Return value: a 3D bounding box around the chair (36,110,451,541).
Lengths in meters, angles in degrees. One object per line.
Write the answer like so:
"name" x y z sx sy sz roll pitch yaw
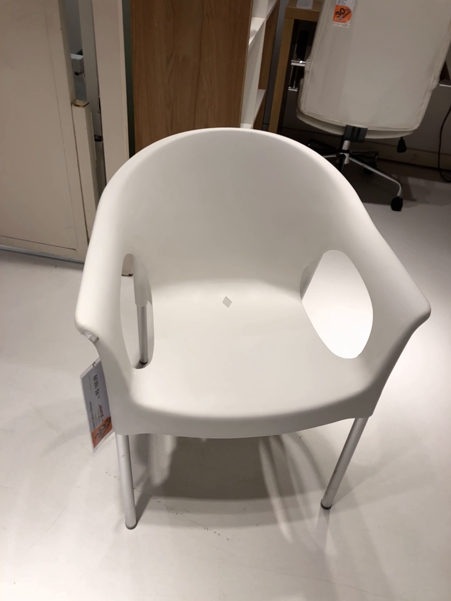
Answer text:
"chair" -0.003 0.057 1.143 0.610 0.734 0.615 0 41 -8
